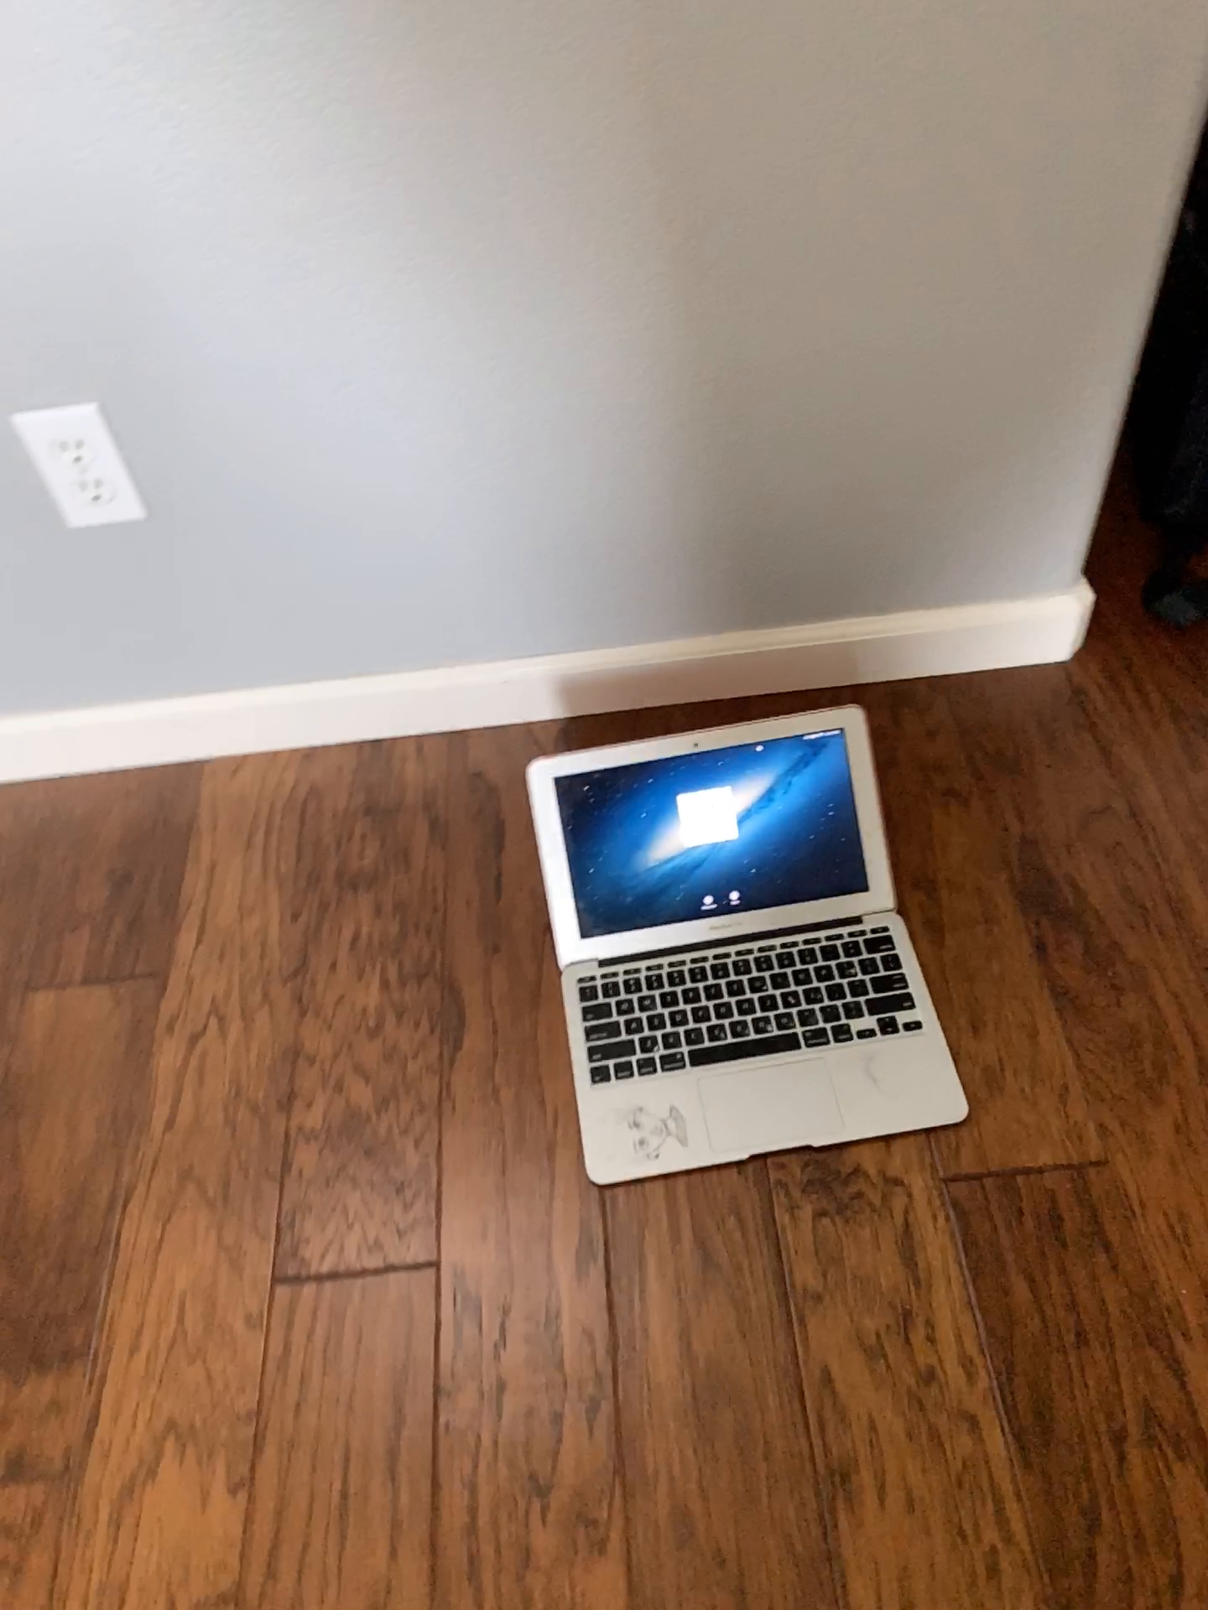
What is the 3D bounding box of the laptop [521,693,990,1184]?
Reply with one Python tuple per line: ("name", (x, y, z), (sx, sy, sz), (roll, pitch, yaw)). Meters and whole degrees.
("laptop", (0.101, 0.095, 0.969), (0.292, 0.117, 0.324), (-9, 52, 0))
